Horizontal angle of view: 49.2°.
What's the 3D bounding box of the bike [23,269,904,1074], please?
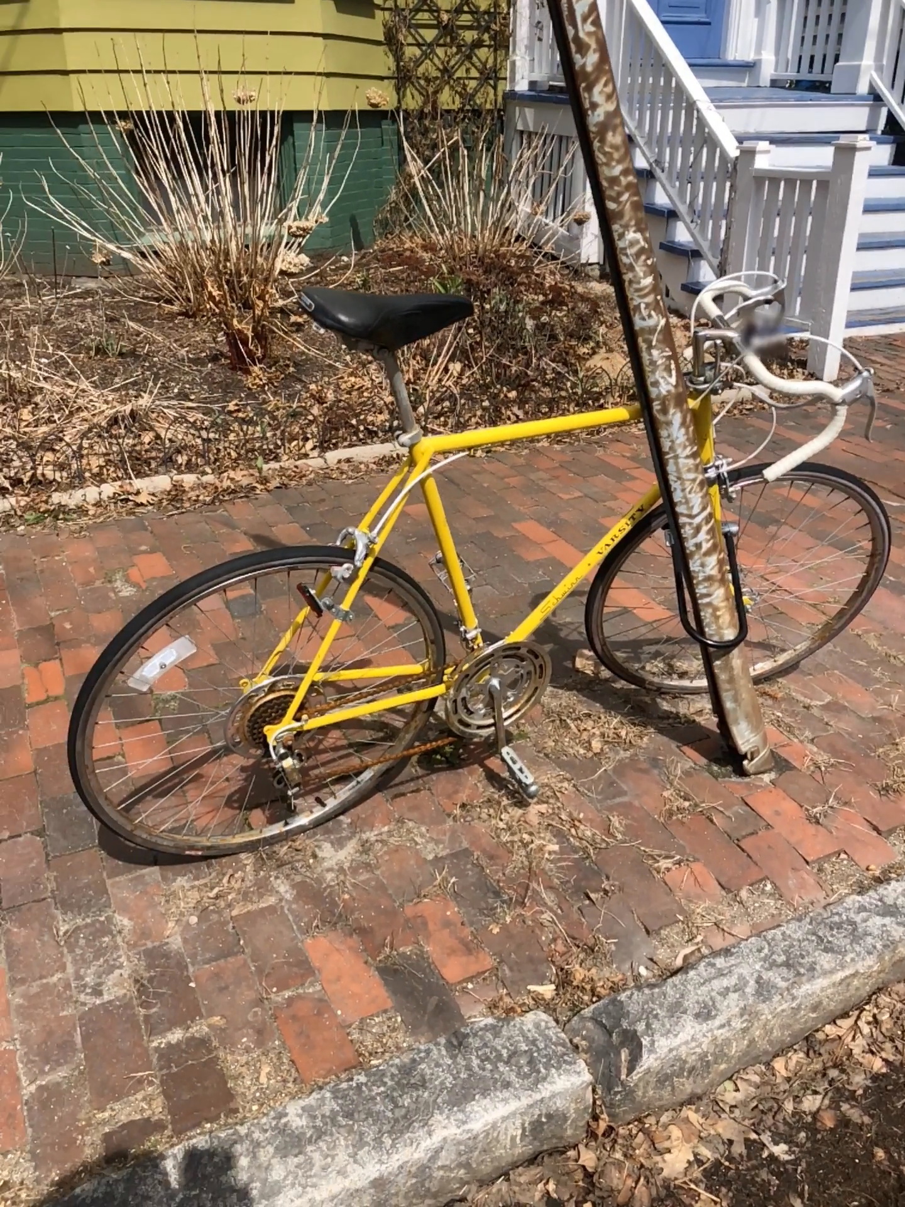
[{"bbox_3d":[0.216,0.005,1.785,1.704,0.855,0.526,-15,29,-18],"label":"bike"}]
